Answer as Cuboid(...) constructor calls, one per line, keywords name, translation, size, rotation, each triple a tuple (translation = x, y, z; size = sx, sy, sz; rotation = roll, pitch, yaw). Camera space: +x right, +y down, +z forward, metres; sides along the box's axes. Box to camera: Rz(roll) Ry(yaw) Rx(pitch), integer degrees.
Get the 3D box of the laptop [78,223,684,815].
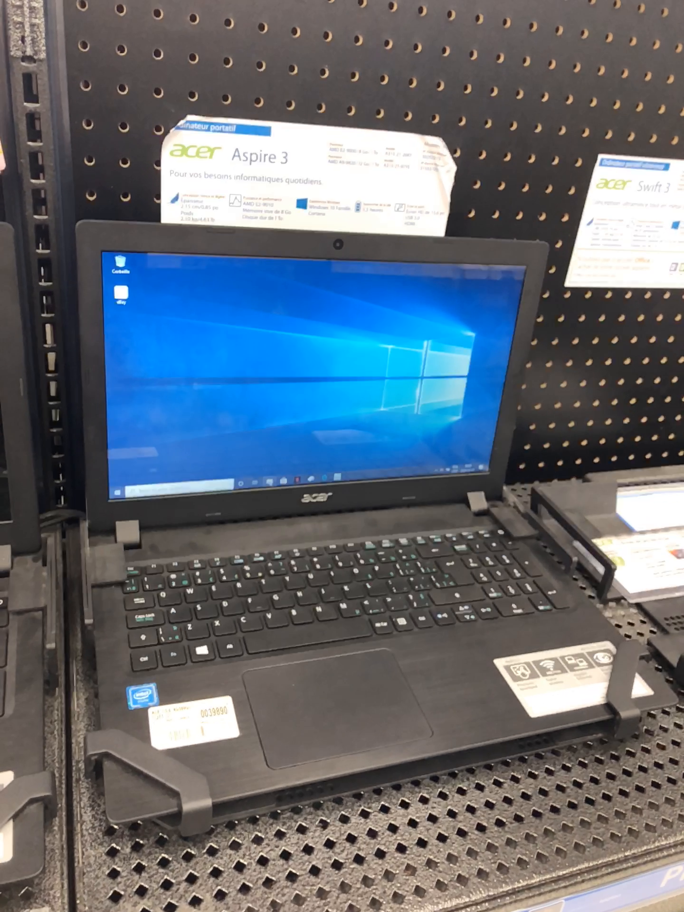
Cuboid(name="laptop", translation=(0.025, 0.004, 0.539), size=(0.386, 0.247, 0.296), rotation=(-3, 30, -19))
